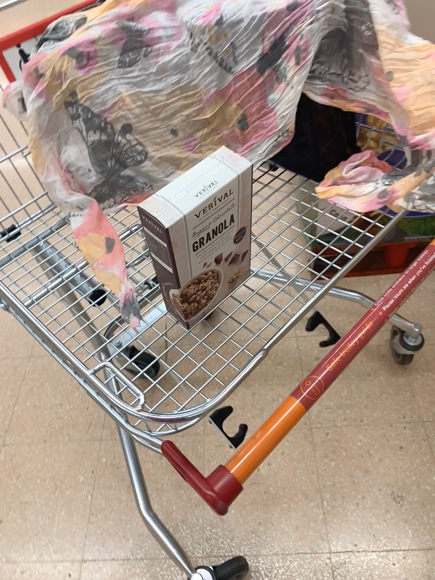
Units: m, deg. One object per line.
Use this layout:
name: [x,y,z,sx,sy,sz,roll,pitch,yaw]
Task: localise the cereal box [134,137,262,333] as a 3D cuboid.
cereal box: [-0.016,-0.058,0.564,0.140,0.218,0.050,-40,63,-23]
